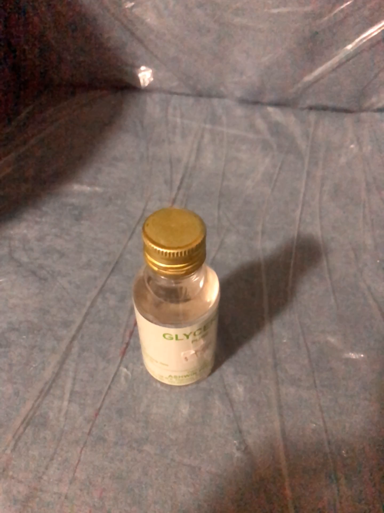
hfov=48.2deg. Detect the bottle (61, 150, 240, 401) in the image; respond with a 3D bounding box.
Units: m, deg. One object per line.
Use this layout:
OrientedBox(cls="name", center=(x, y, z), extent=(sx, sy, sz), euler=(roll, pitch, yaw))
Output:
OrientedBox(cls="bottle", center=(-0.016, 0.014, 0.194), extent=(0.050, 0.100, 0.050), euler=(-1, 51, 1))
